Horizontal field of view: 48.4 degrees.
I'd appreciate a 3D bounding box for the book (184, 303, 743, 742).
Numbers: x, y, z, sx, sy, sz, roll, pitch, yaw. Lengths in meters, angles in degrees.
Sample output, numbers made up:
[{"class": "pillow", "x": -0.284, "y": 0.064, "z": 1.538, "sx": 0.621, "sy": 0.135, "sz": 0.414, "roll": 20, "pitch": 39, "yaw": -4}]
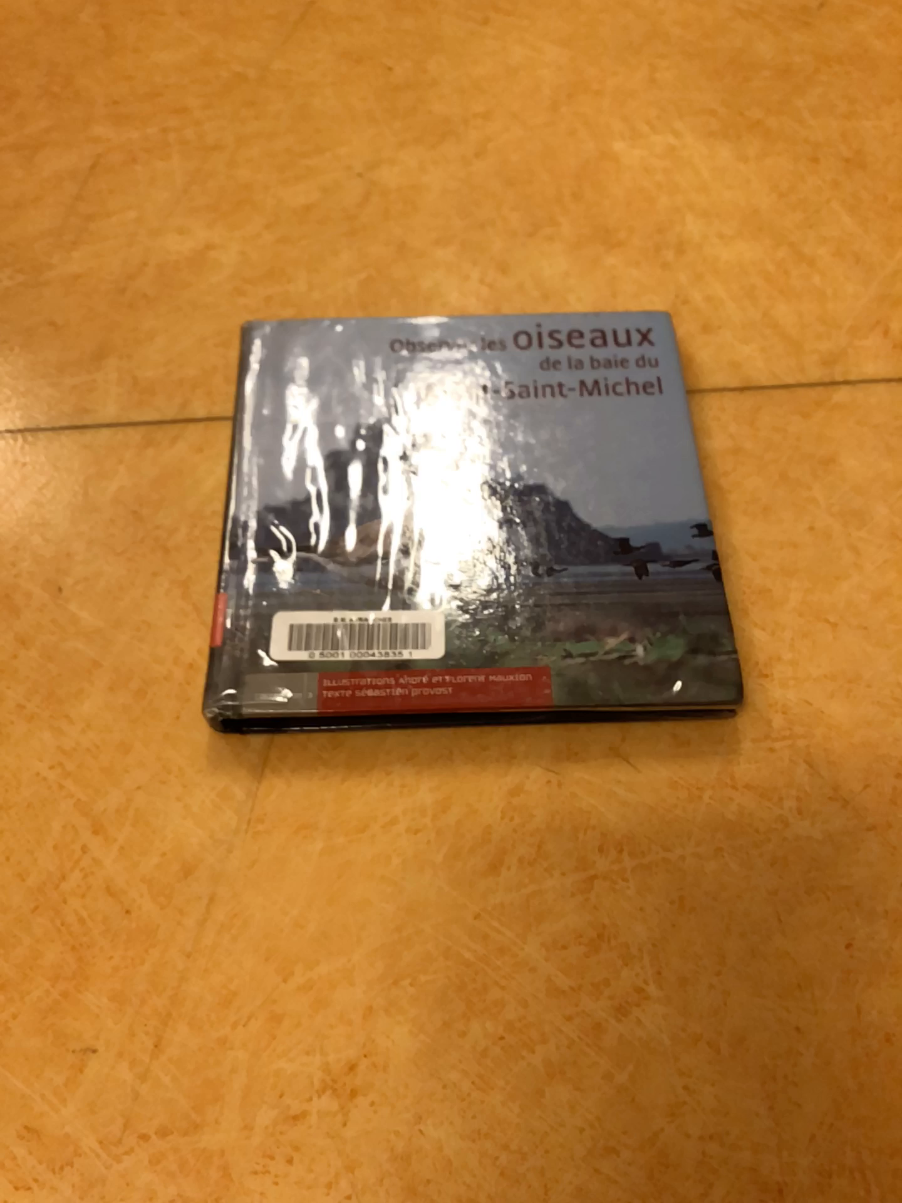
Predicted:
[{"class": "book", "x": 0.002, "y": -0.033, "z": 0.321, "sx": 0.153, "sy": 0.015, "sz": 0.156, "roll": -2, "pitch": 59, "yaw": 0}]
